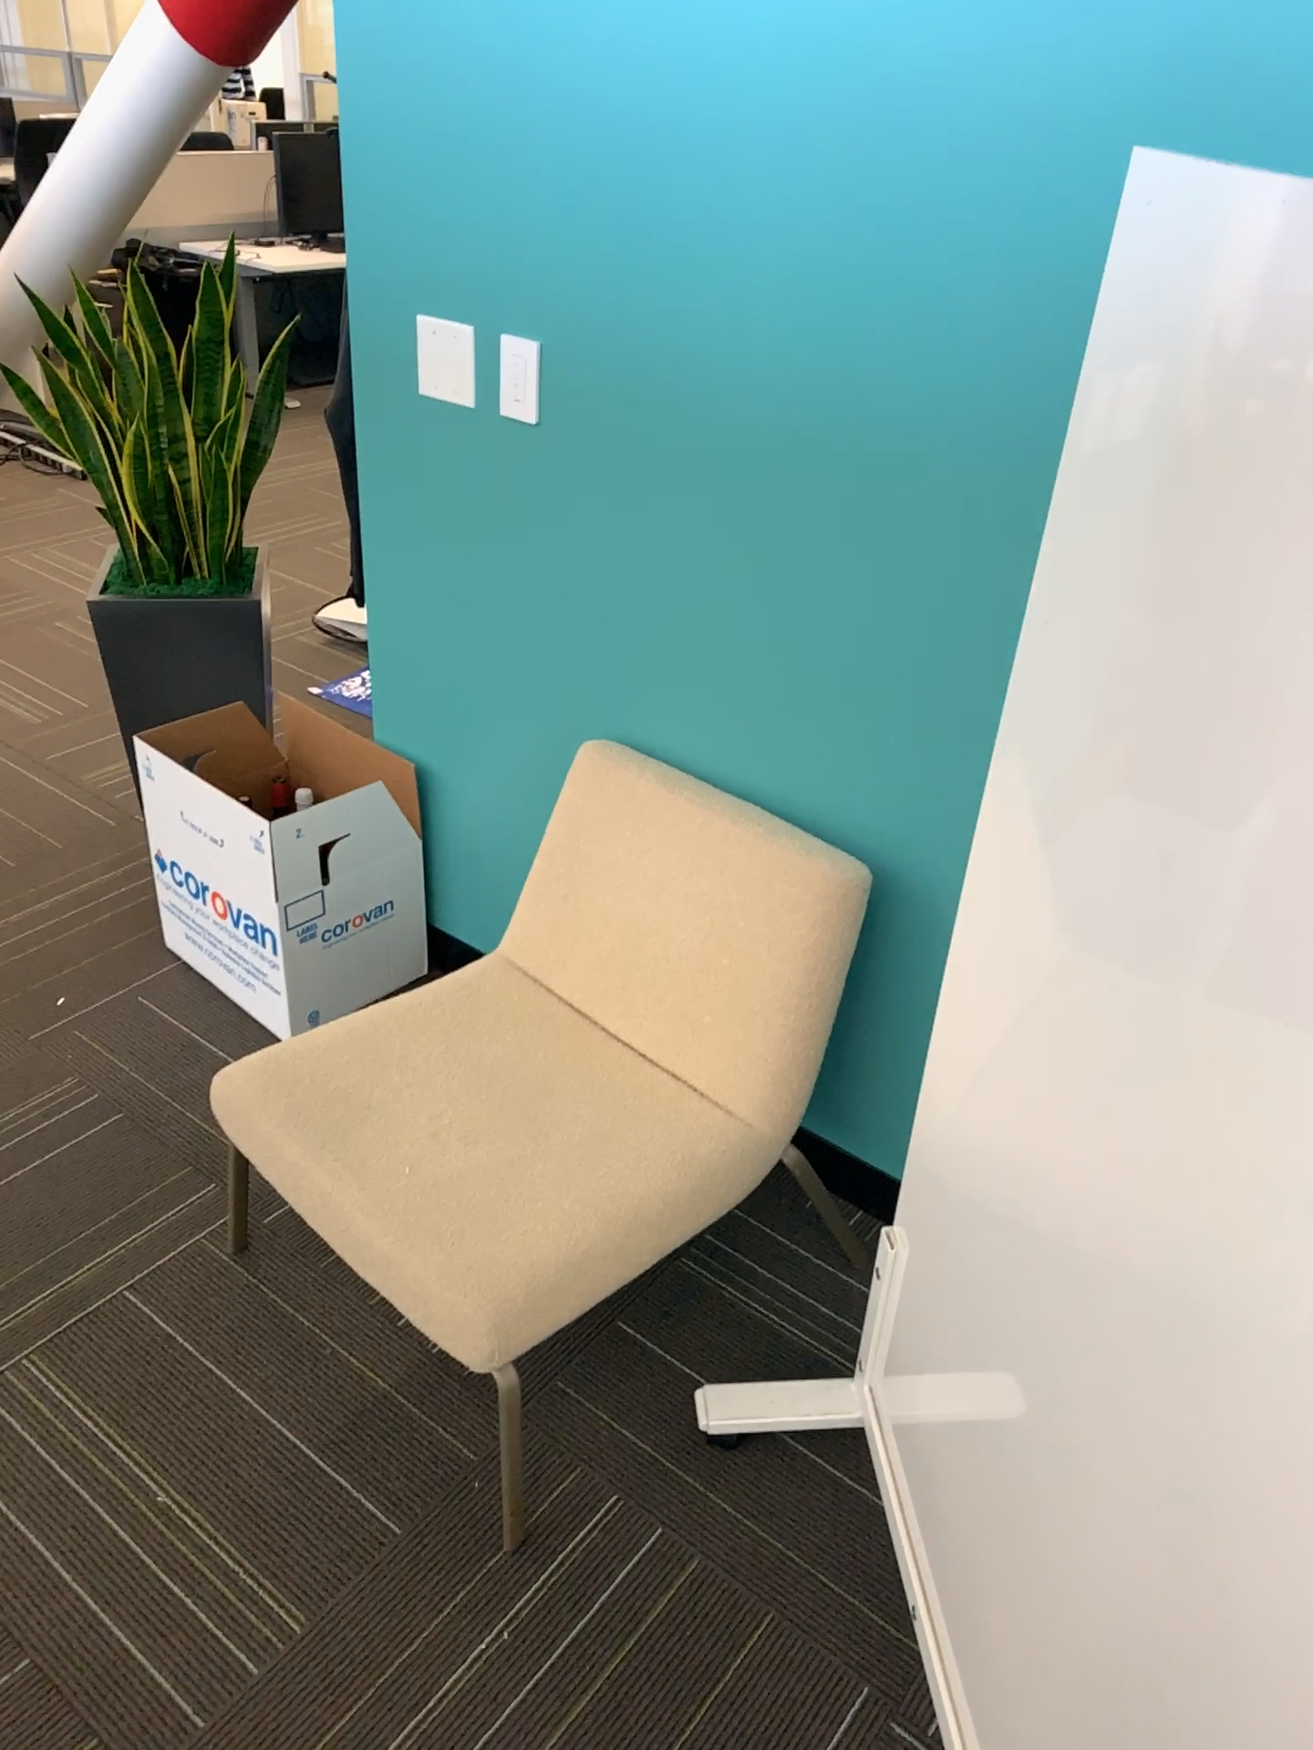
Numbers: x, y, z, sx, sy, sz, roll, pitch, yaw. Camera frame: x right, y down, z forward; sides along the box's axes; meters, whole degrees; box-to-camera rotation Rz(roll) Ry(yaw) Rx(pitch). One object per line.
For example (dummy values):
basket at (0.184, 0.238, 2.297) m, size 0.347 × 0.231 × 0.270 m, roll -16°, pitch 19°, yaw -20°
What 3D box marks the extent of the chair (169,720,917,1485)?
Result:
chair at (-0.152, 0.246, 1.913) m, size 0.662 × 0.567 × 0.731 m, roll 28°, pitch 39°, yaw 34°
